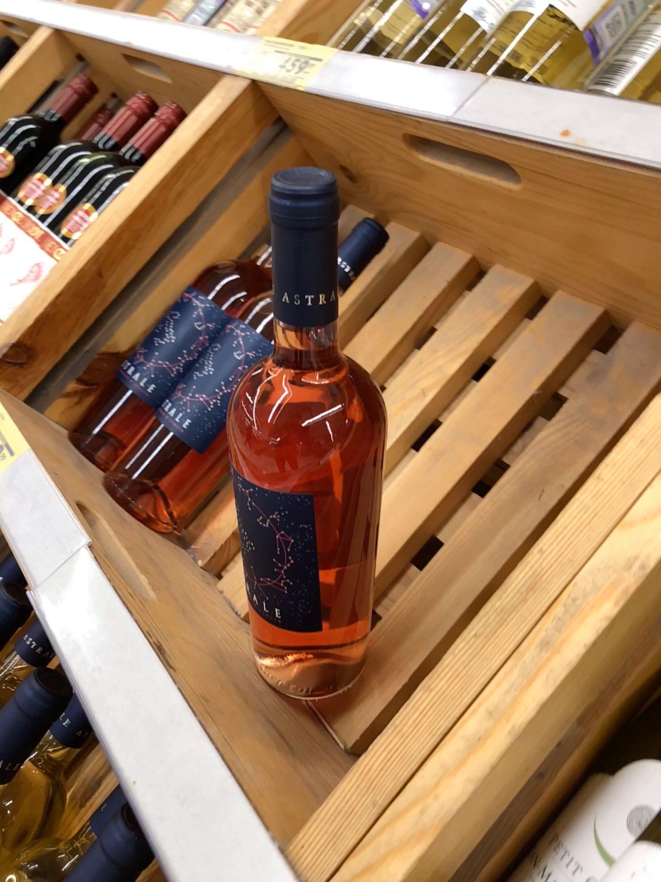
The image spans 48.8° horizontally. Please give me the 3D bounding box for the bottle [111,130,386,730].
[{"bbox_3d":[-0.029,0.011,0.365,0.080,0.288,0.080,-2,36,1],"label":"bottle"}]
